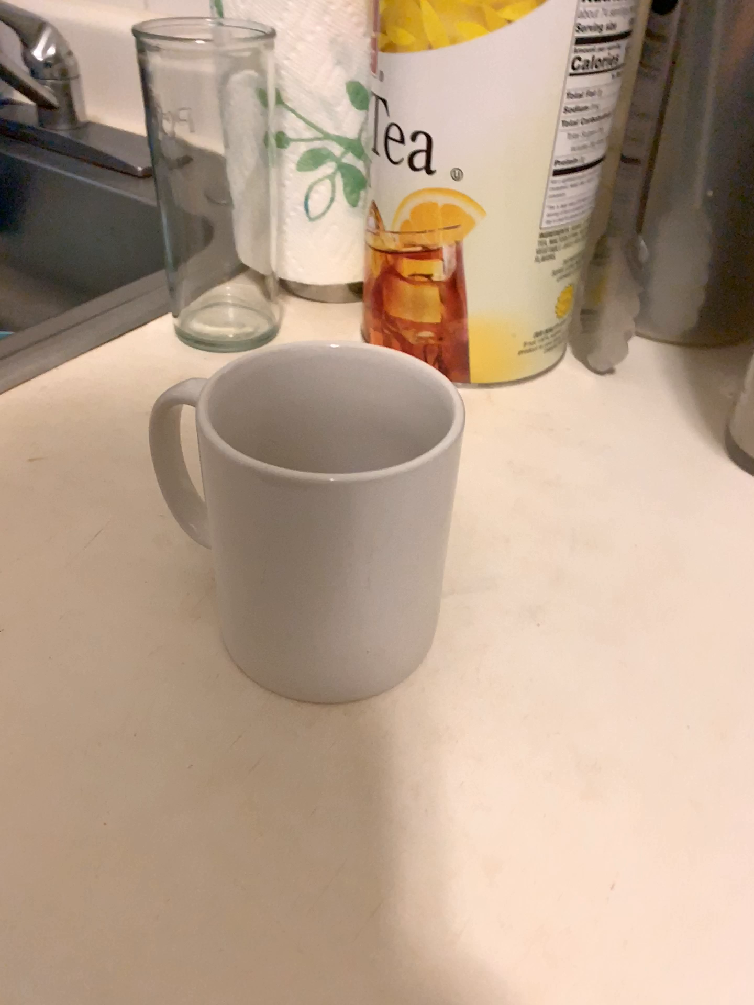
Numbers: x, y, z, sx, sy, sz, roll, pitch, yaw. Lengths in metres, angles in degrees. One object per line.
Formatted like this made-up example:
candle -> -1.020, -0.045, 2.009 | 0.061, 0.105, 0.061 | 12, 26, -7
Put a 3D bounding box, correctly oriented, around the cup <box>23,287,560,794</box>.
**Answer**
cup -> -0.026, 0.007, 0.277 | 0.140, 0.109, 0.090 | 19, 41, 18
